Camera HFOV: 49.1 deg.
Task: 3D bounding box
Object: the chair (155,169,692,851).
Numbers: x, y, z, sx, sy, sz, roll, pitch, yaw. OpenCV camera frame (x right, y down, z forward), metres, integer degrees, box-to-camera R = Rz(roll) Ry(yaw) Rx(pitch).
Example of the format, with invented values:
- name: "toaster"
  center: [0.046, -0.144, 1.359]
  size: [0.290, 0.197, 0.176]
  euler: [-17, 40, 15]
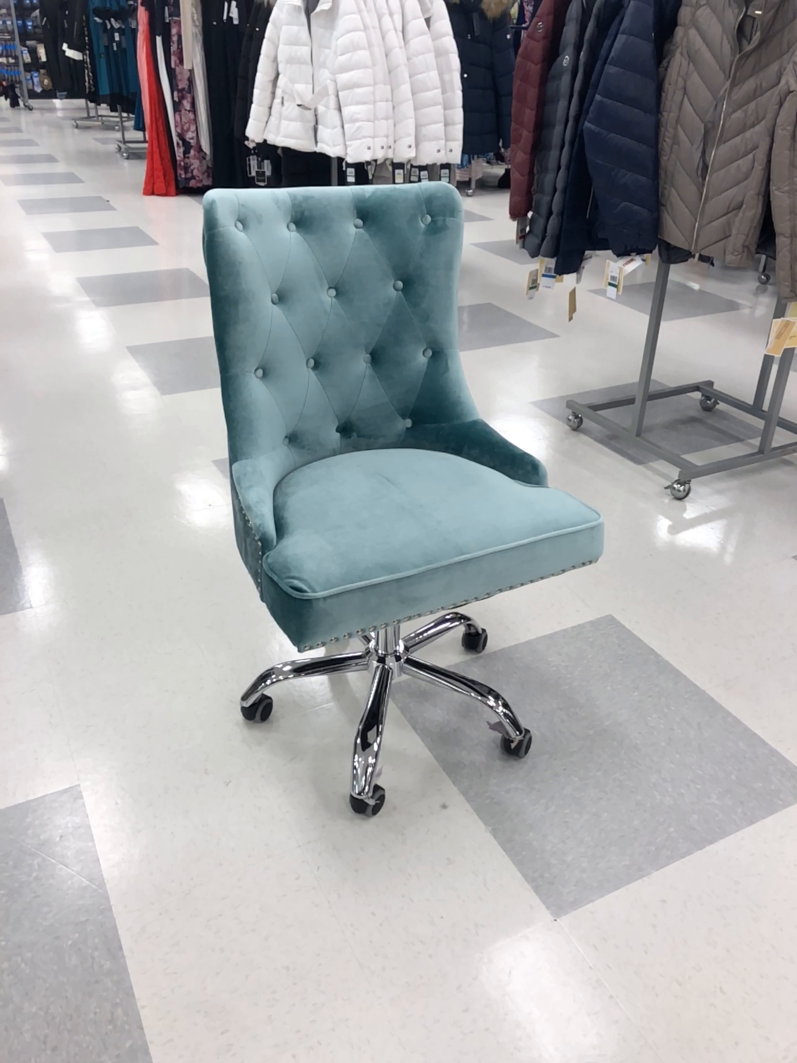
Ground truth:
- name: "chair"
  center: [-0.009, -0.087, 1.542]
  size: [0.598, 0.934, 0.607]
  euler: [-13, 32, -23]
